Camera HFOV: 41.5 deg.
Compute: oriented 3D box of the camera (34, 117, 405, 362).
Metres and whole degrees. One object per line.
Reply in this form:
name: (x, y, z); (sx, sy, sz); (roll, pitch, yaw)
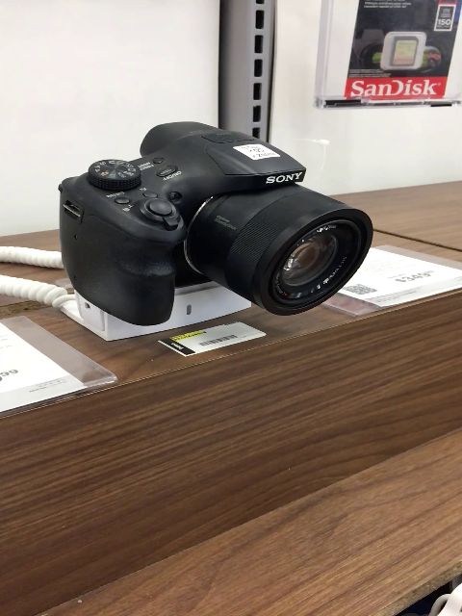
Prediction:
camera: (-0.013, -0.046, 0.334); (0.132, 0.087, 0.113); (-18, 41, -35)
